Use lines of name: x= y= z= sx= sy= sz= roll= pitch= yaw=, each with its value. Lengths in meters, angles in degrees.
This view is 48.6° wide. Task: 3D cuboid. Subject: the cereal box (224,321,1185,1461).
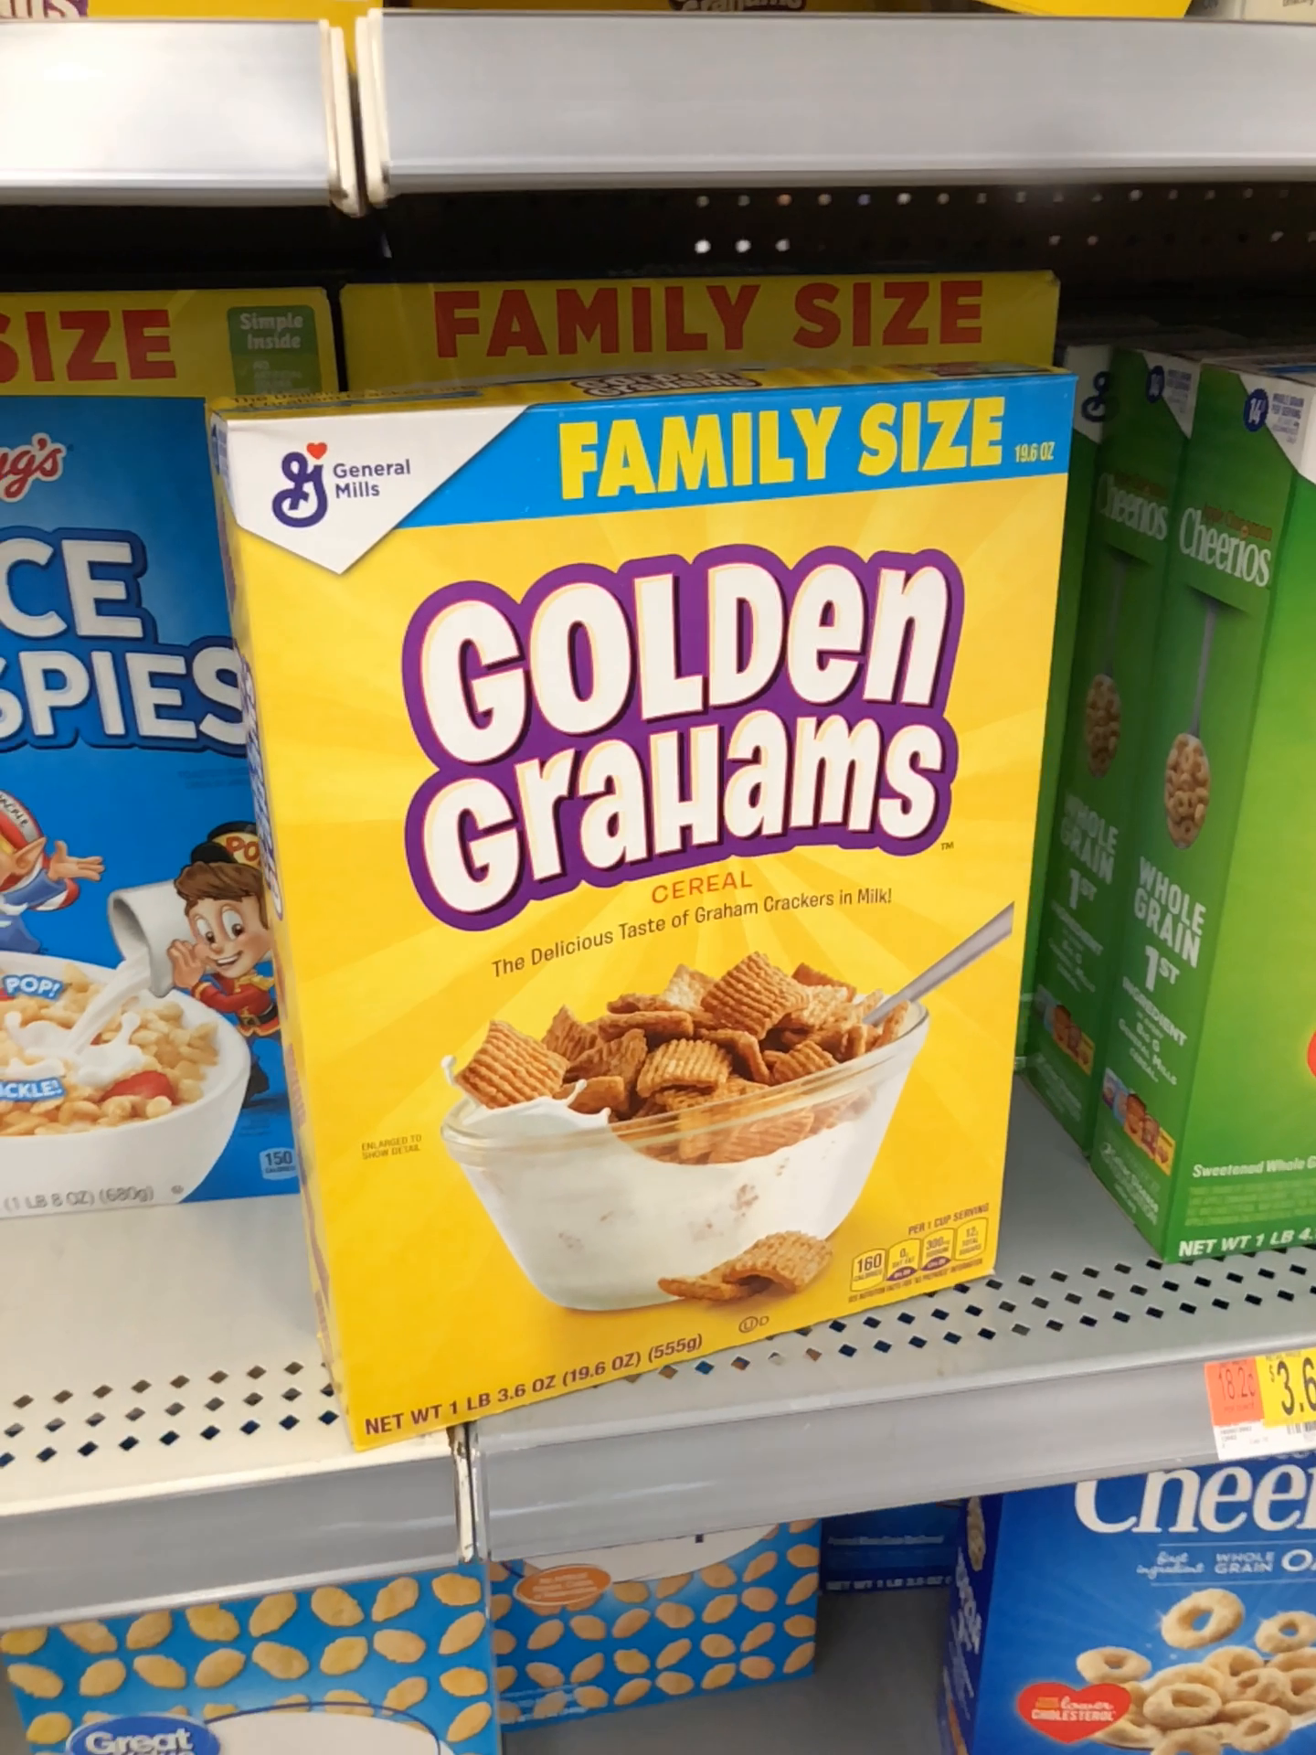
cereal box: x=0.015 y=0.003 z=0.442 sx=0.240 sy=0.309 sz=0.070 roll=-9 pitch=27 yaw=-19
